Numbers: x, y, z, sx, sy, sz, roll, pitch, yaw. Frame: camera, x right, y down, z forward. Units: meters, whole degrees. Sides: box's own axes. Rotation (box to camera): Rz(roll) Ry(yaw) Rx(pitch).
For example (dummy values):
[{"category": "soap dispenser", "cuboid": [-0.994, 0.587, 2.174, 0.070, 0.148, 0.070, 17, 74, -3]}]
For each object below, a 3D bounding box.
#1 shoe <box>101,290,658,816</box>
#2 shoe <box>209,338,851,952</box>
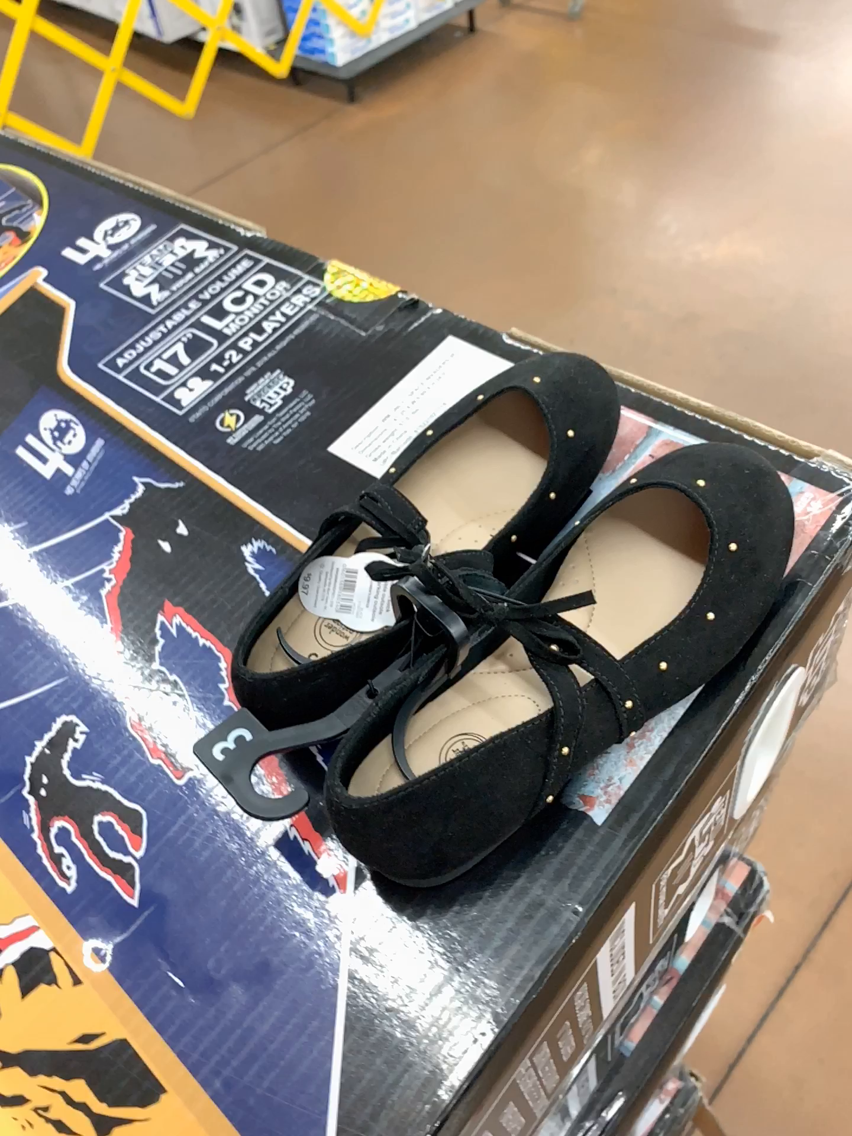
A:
[{"category": "shoe", "cuboid": [-0.007, -0.020, 0.403, 0.090, 0.070, 0.250, 33, 63, 30]}, {"category": "shoe", "cuboid": [0.052, 0.016, 0.335, 0.240, 0.070, 0.090, -36, 55, -19]}]
